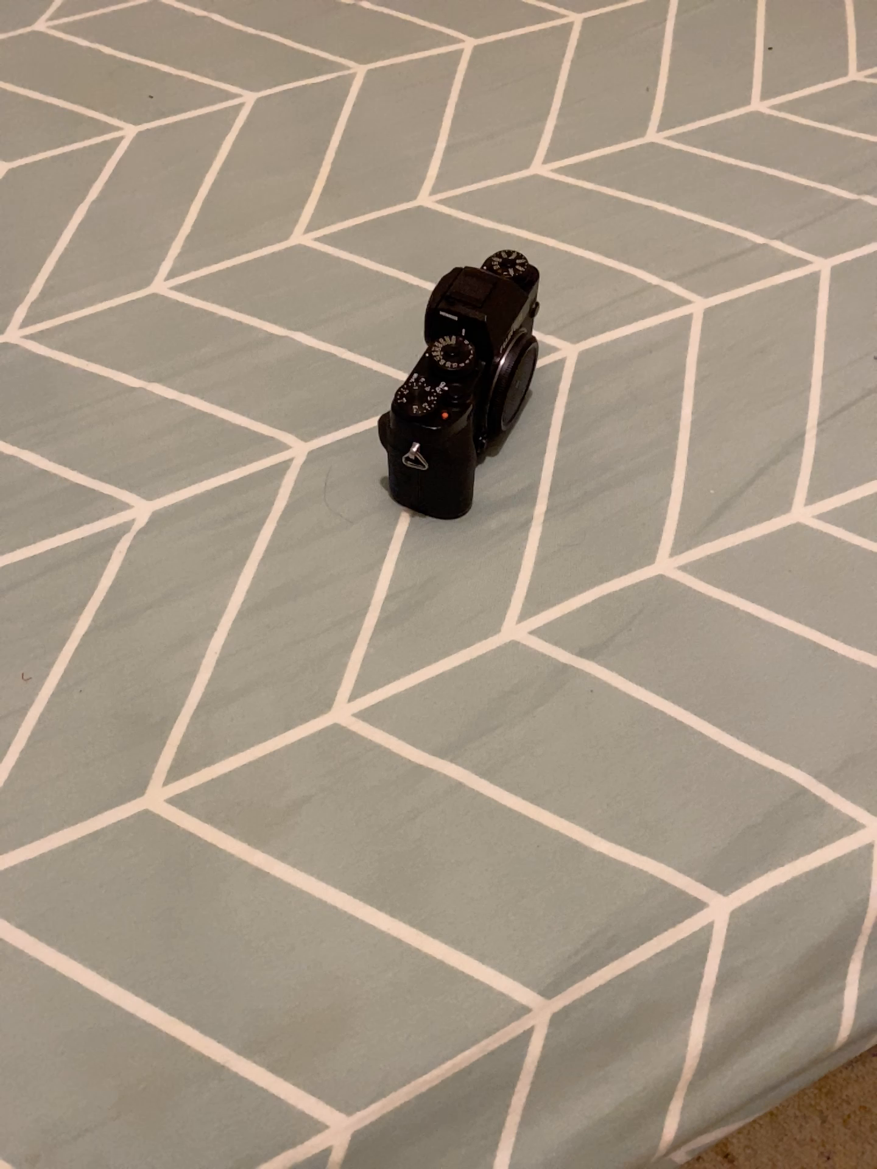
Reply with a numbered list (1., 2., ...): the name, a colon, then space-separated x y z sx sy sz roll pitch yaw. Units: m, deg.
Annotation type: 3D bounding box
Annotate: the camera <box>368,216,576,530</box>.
1. camera: 0.018 -0.111 0.473 0.051 0.087 0.130 23 62 11
